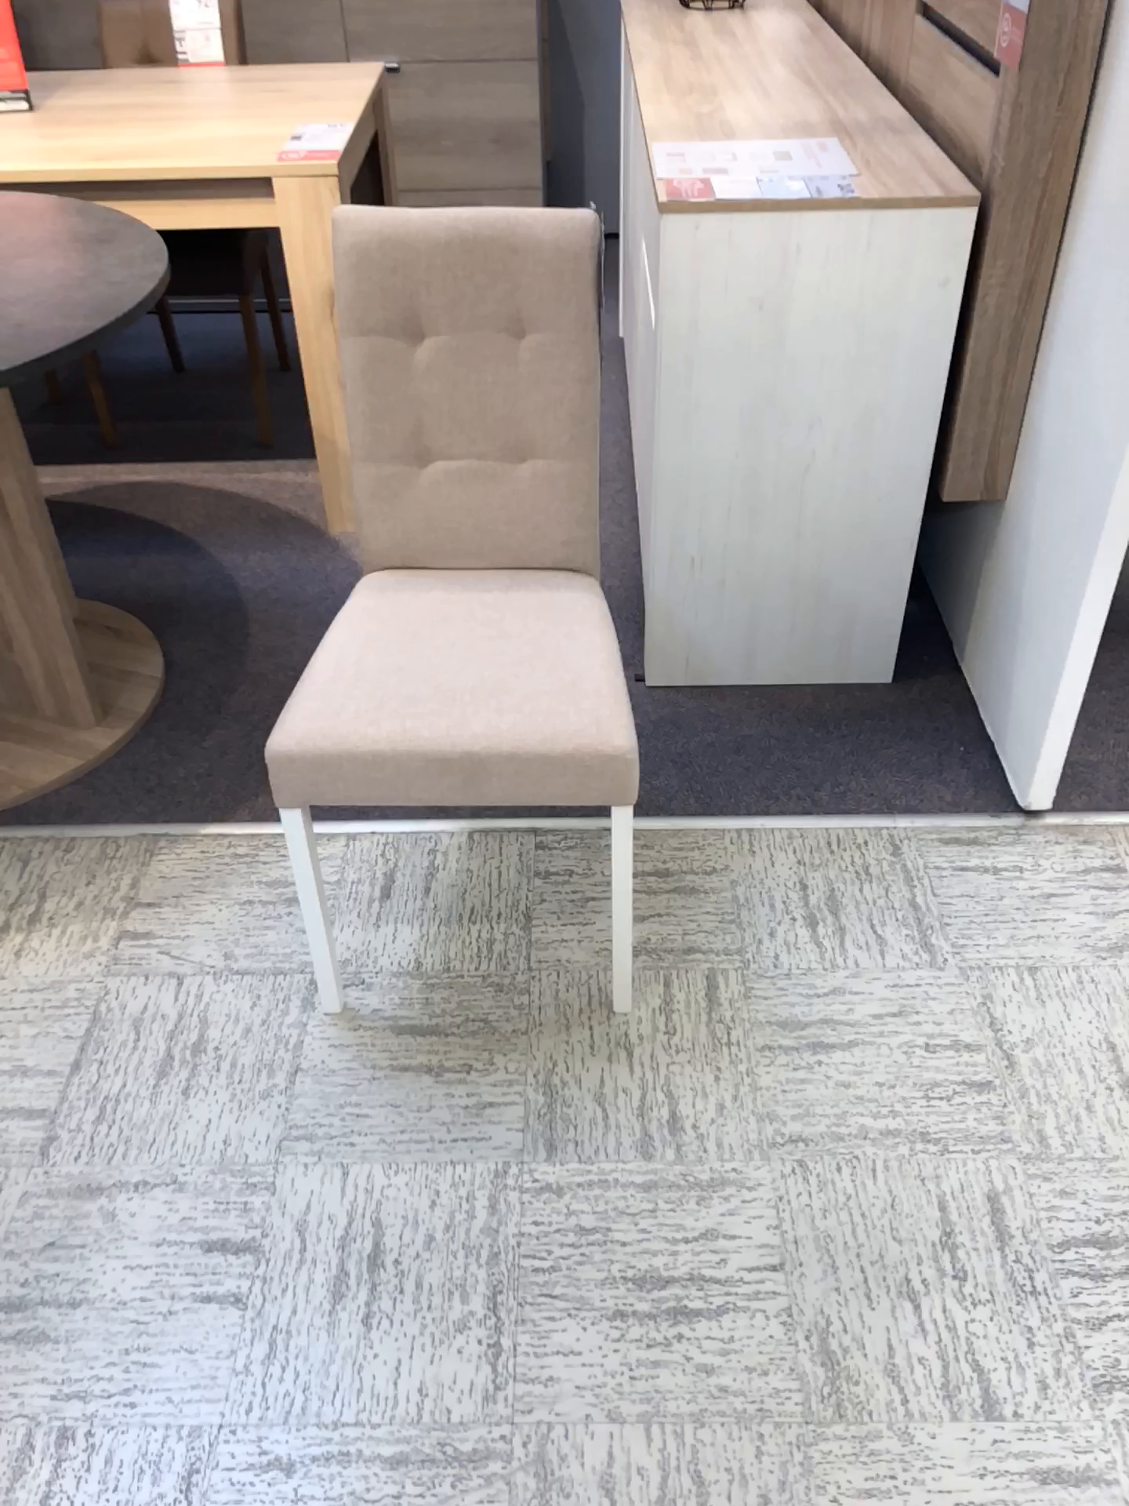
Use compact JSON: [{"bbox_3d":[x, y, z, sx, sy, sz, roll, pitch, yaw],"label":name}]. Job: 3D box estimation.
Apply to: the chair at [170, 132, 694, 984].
[{"bbox_3d":[-0.092,-0.214,1.475,0.430,0.855,0.533,0,38,2],"label":"chair"}]
